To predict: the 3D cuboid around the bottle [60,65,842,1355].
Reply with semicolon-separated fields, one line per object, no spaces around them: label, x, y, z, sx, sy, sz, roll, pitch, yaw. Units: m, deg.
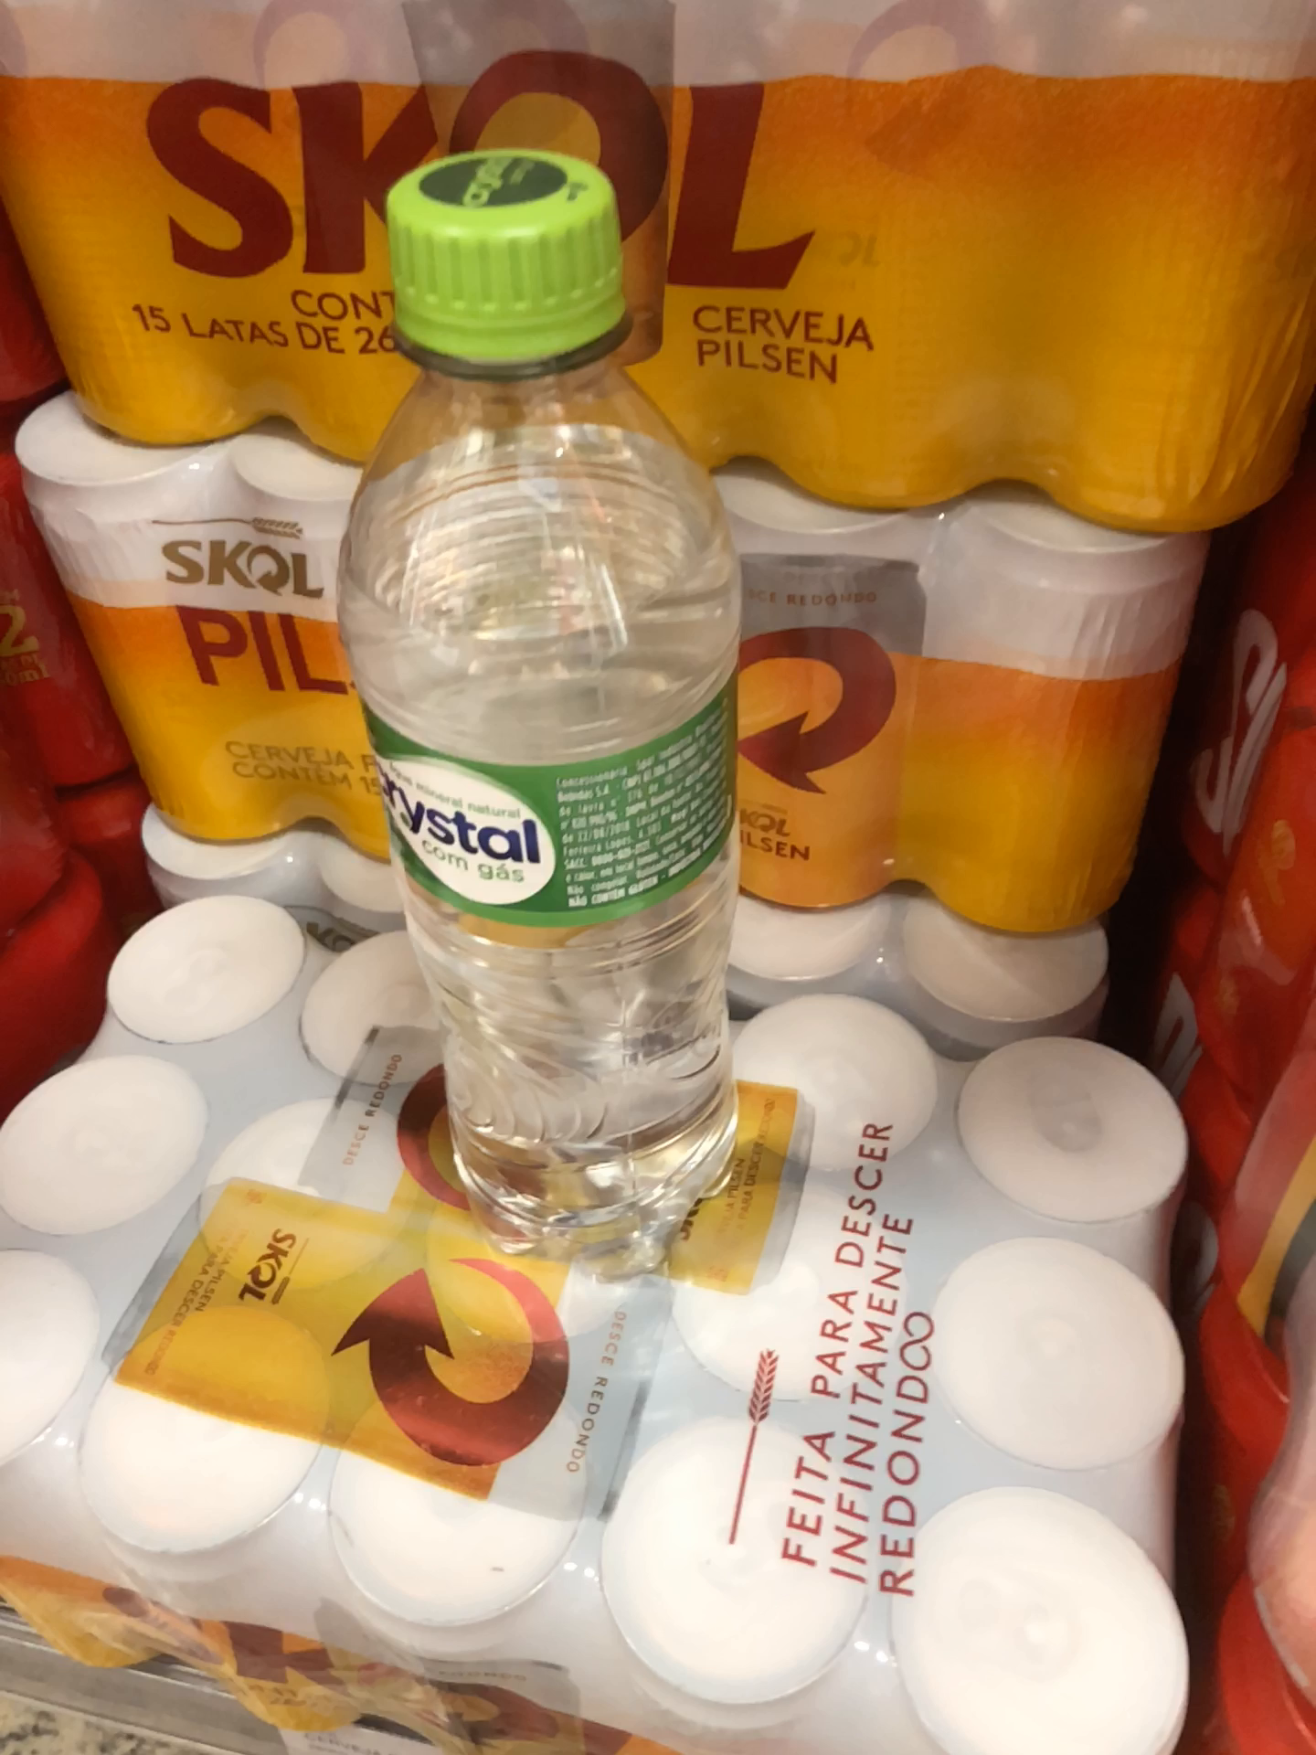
bottle;-0.016;-0.007;0.252;0.070;0.219;0.060;24;55;25
